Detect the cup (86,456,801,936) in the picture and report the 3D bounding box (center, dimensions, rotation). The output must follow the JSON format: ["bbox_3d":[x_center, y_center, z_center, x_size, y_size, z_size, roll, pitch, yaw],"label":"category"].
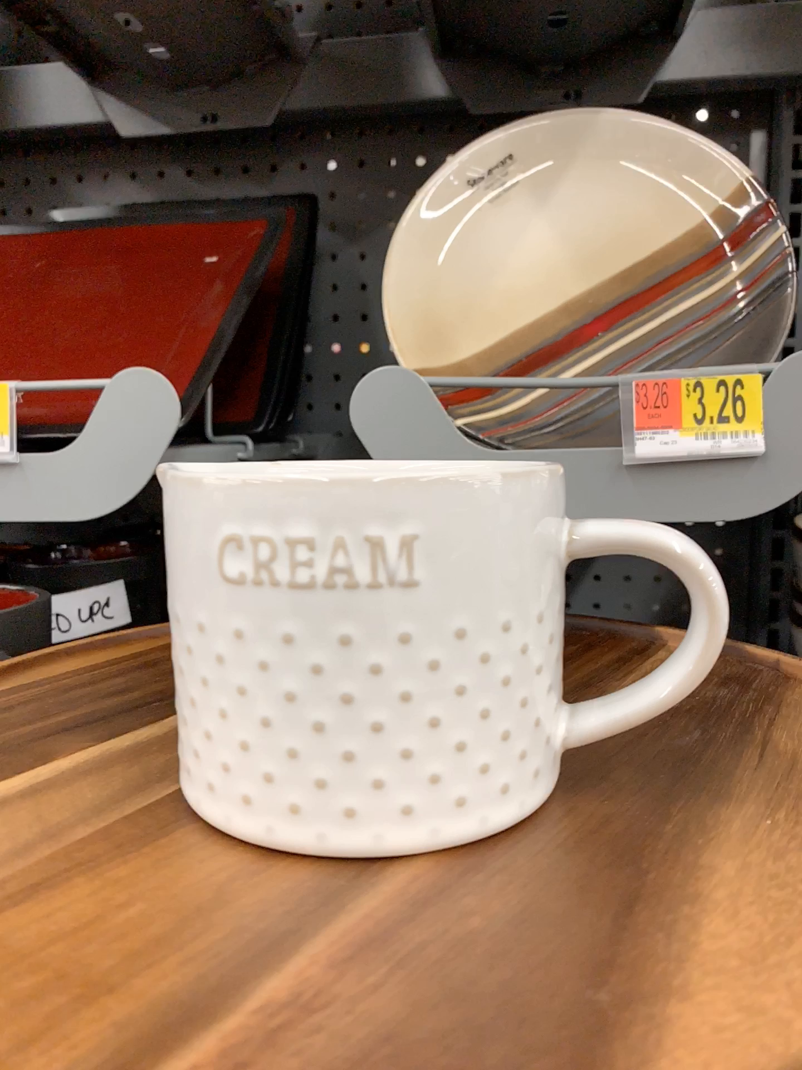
[{"bbox_3d":[0.013,0.026,0.226,0.150,0.090,0.100,1,8,13],"label":"cup"}]
